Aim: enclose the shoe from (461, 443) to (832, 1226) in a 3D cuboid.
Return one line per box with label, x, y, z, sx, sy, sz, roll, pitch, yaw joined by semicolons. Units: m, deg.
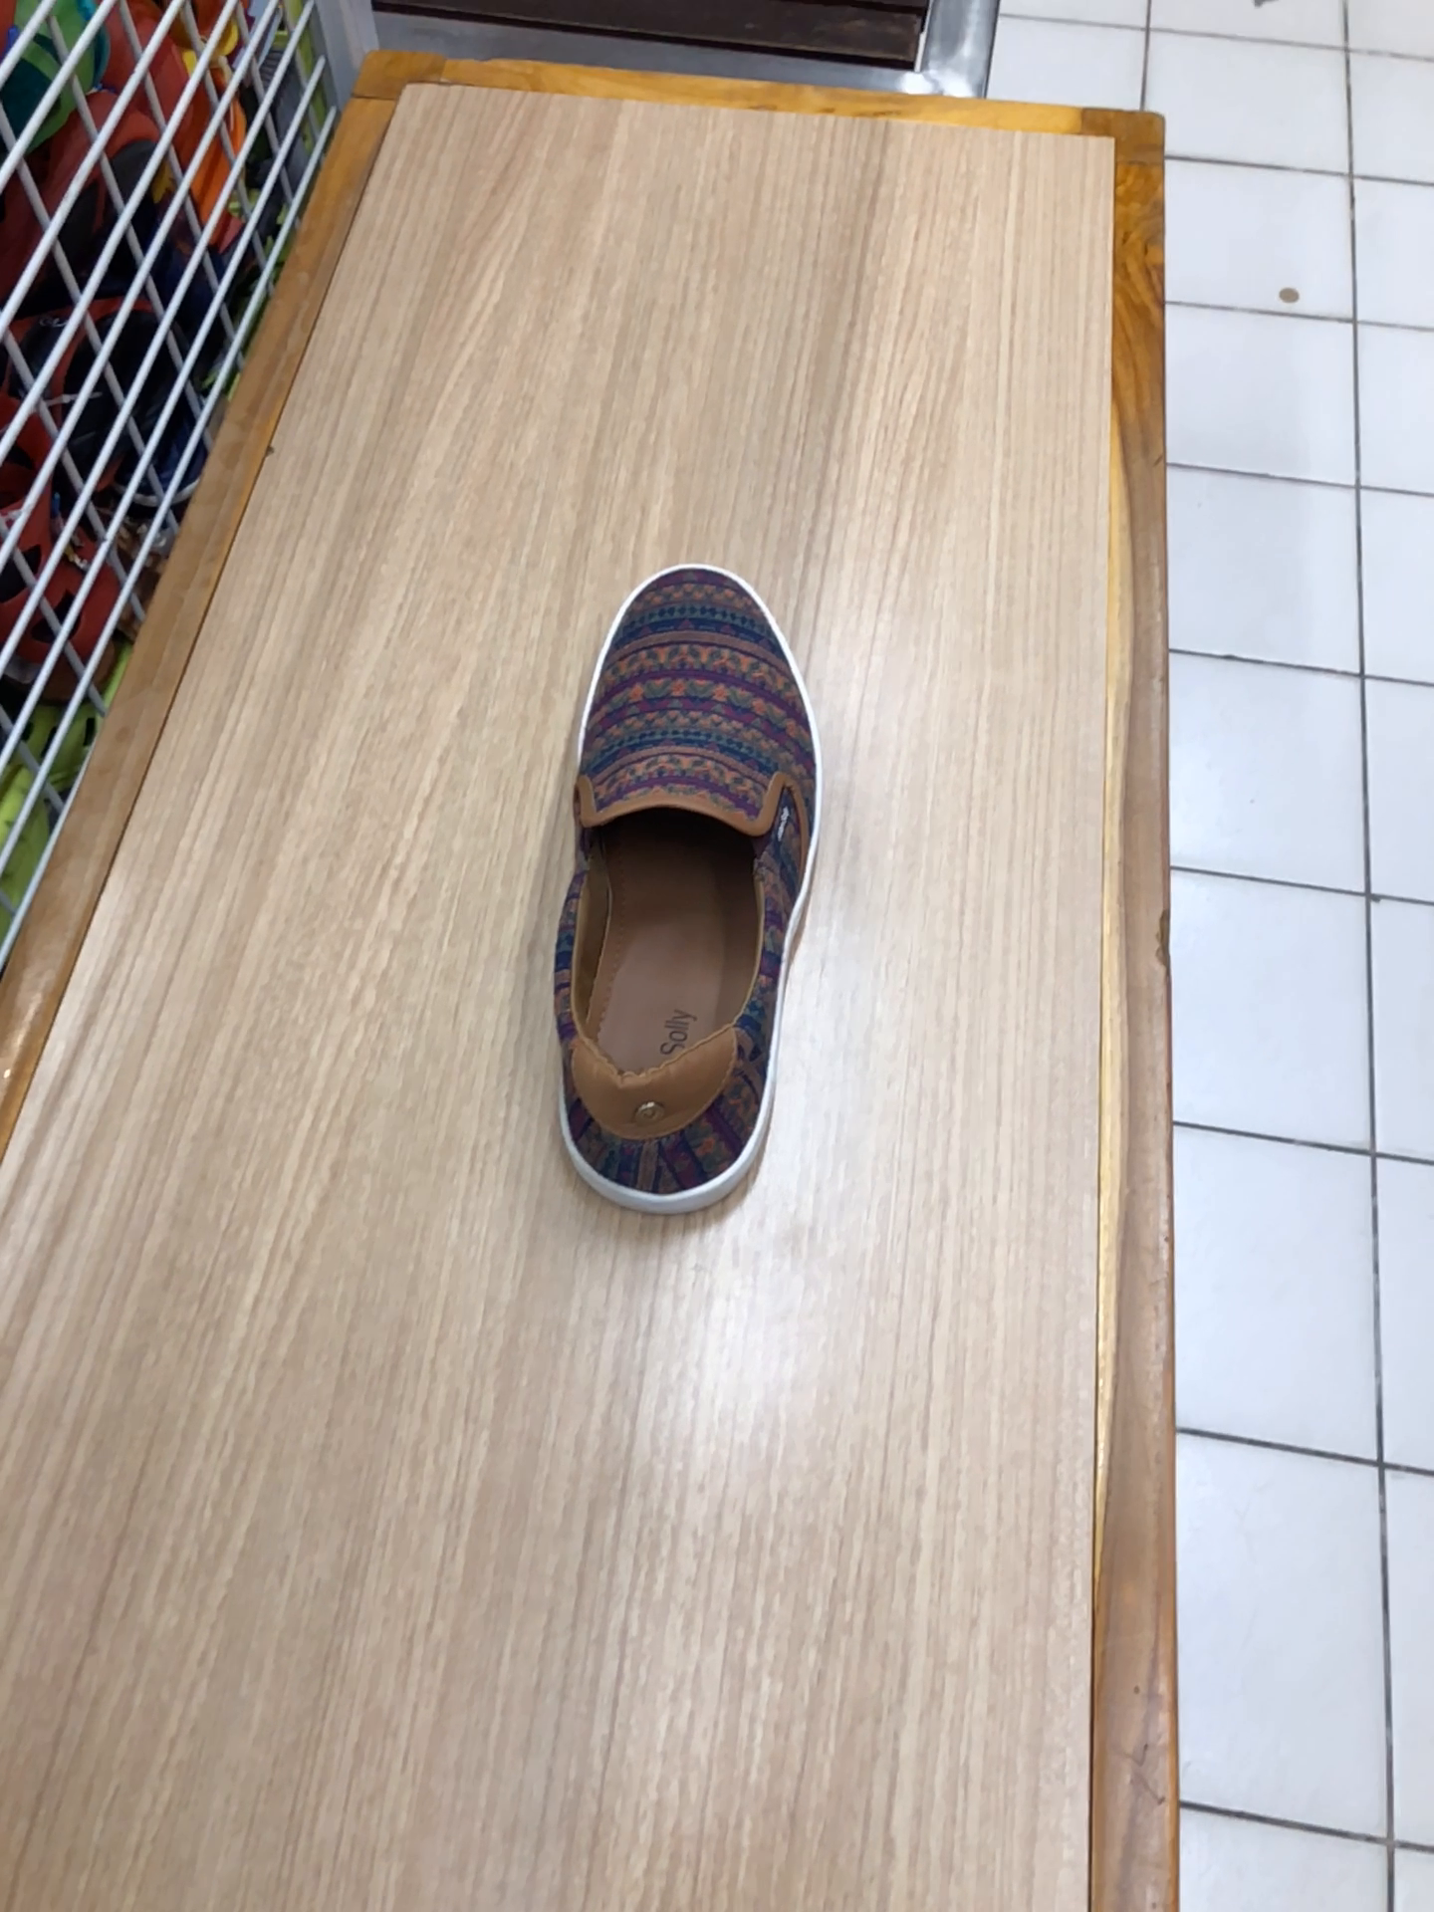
shoe;-0.016;-0.050;0.570;0.100;0.090;0.271;4;62;2
